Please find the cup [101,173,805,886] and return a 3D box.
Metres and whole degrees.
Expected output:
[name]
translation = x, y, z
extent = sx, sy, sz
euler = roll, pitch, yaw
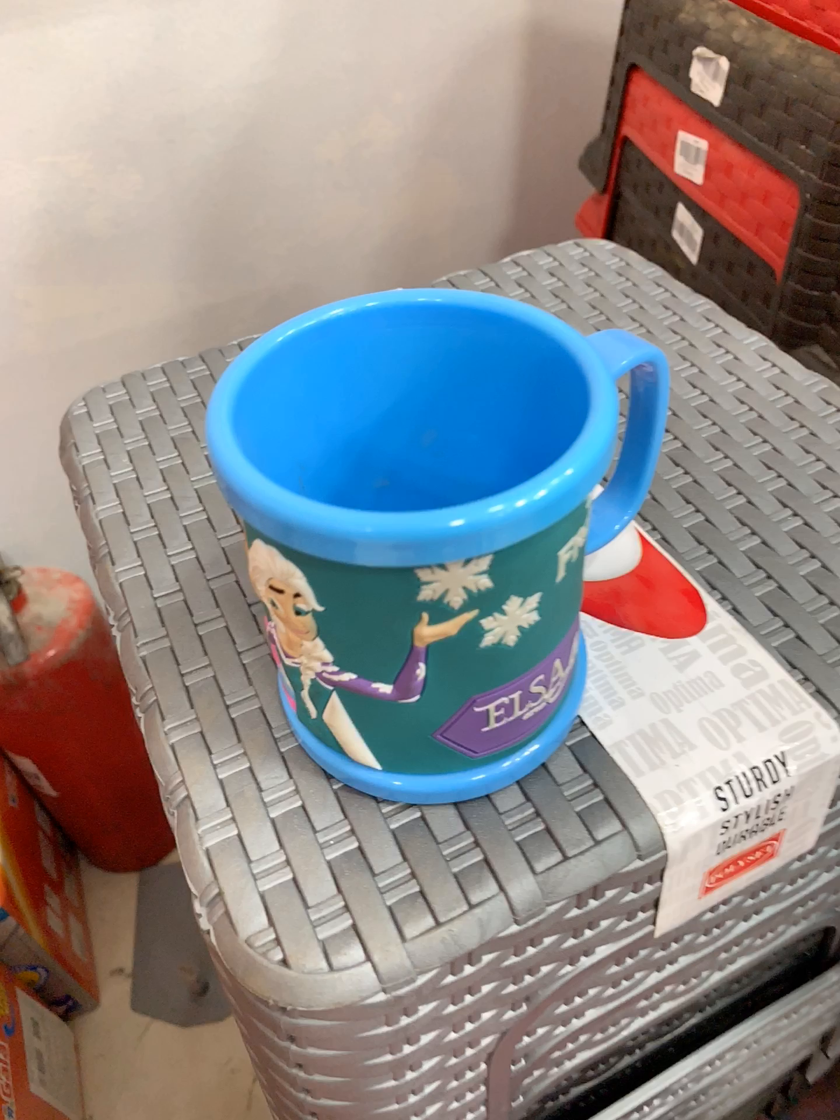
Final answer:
[cup]
translation = 0.010, -0.011, 0.203
extent = 0.110, 0.099, 0.080
euler = -34, 52, -25
